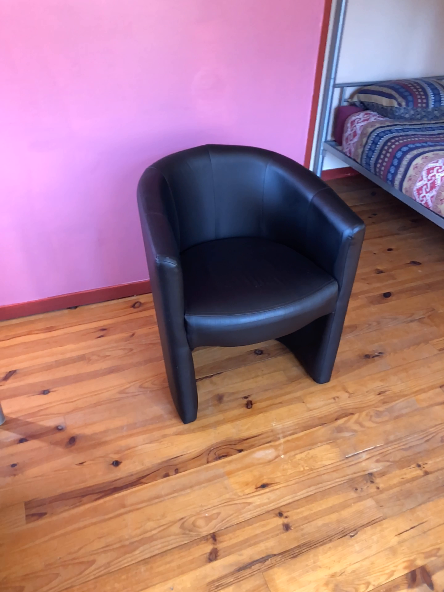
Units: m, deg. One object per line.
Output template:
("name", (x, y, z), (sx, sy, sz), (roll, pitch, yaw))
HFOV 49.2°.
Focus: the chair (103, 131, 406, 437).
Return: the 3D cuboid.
("chair", (0.047, -0.081, 1.555), (0.672, 0.646, 0.592), (-12, 38, -18))
